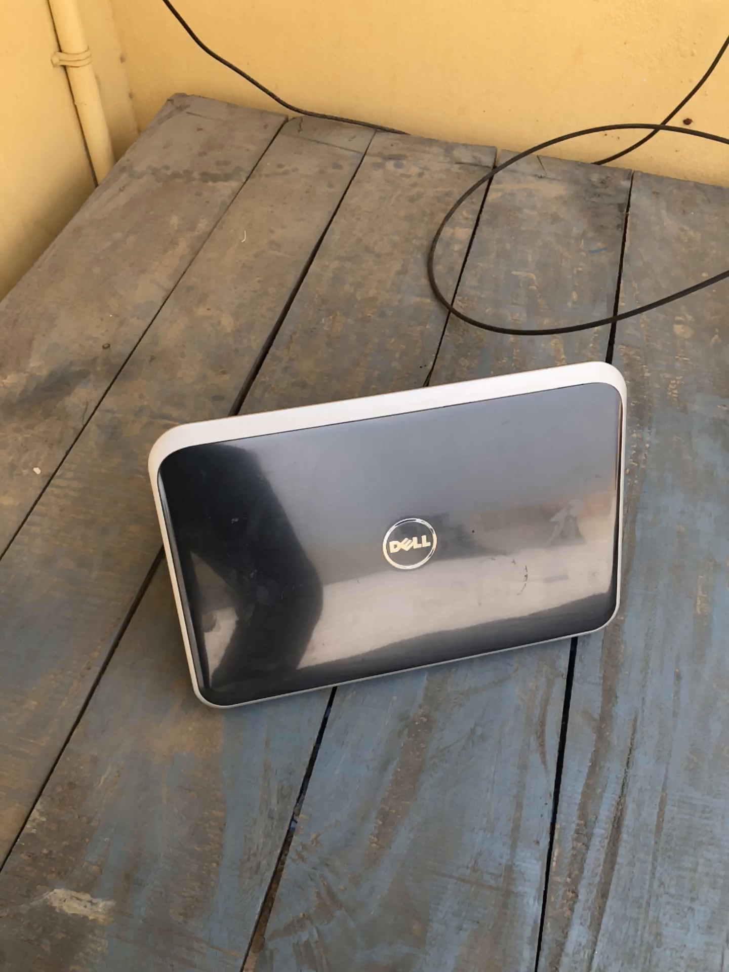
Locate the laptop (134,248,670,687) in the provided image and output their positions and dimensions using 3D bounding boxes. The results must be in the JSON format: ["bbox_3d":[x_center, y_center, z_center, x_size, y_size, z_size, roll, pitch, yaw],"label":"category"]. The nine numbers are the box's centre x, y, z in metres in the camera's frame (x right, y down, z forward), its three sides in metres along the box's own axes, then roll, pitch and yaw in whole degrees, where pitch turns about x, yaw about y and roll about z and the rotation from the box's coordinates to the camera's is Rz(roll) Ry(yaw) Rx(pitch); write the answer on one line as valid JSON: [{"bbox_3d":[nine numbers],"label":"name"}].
[{"bbox_3d":[0.015,-0.016,0.659,0.347,0.206,0.216,-10,54,-8],"label":"laptop"}]
